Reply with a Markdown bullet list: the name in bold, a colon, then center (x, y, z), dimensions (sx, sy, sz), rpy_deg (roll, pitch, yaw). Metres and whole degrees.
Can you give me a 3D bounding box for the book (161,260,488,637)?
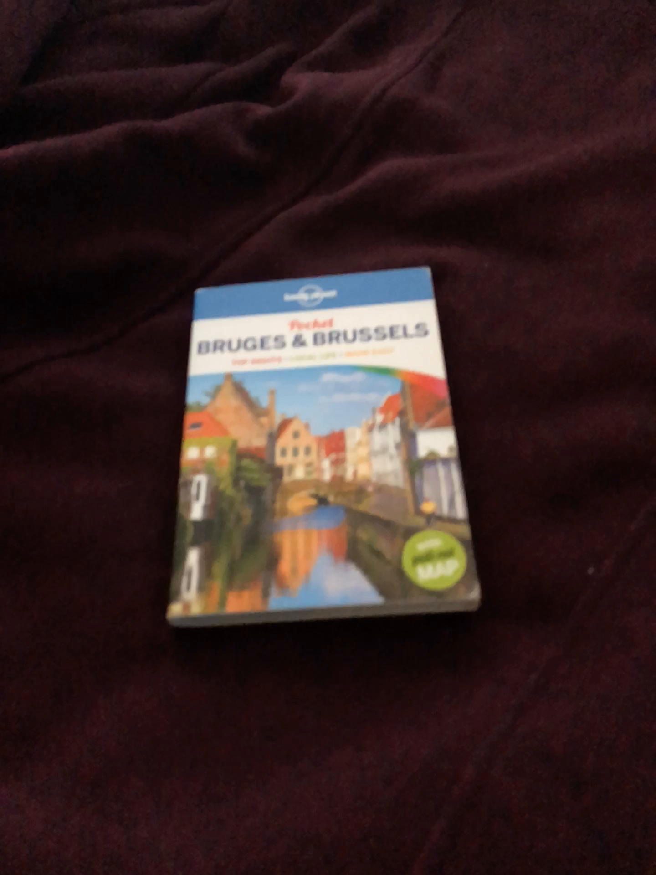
- **book**: center (-0.004, -0.004, 0.290), dimensions (0.110, 0.016, 0.158), rpy_deg (-5, 57, 3)
